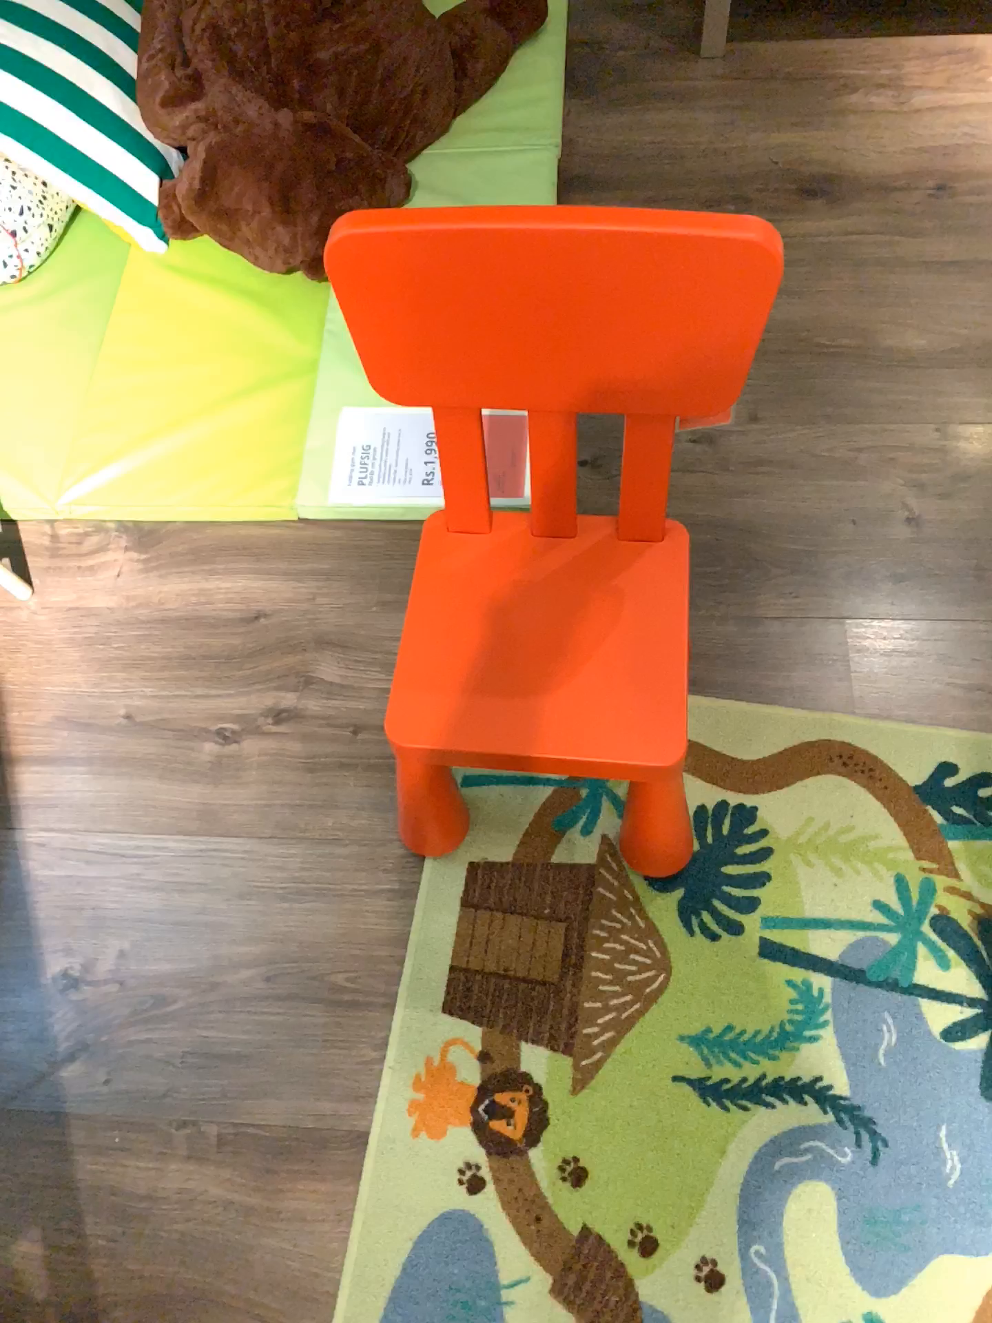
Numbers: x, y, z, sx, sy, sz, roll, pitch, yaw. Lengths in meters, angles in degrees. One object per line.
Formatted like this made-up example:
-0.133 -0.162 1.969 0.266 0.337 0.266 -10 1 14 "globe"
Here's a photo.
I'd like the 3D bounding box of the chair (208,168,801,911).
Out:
0.051 -0.070 1.011 0.380 0.599 0.461 5 64 7 "chair"
